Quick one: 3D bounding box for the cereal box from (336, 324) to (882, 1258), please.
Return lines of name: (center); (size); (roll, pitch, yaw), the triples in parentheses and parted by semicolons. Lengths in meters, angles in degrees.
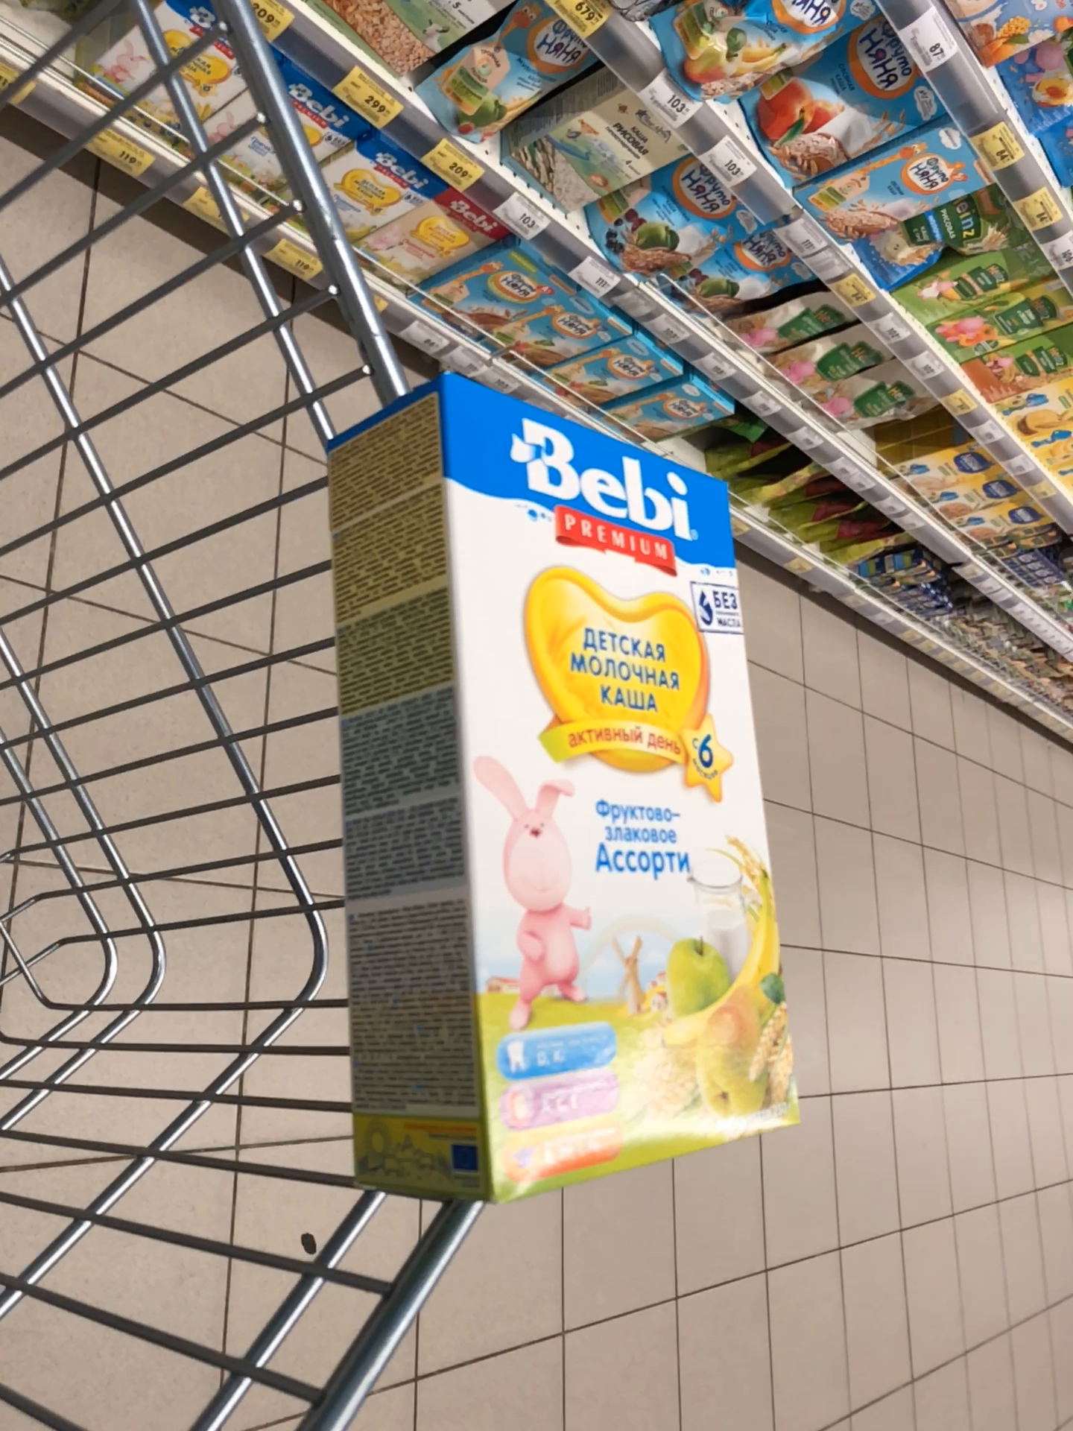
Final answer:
cereal box: (0.024, 0.020, 0.331); (0.151, 0.050, 0.210); (8, 73, -44)
